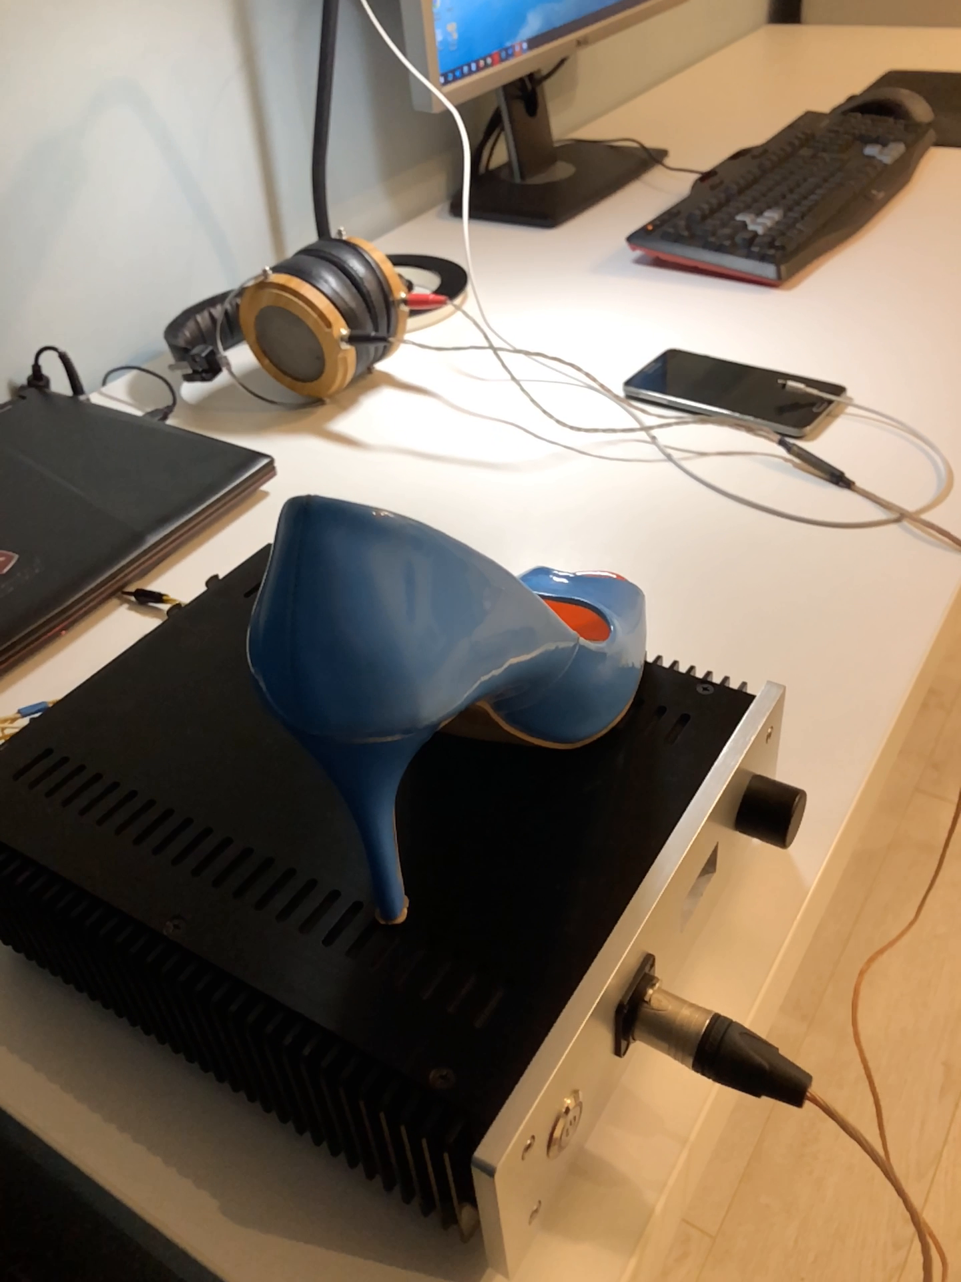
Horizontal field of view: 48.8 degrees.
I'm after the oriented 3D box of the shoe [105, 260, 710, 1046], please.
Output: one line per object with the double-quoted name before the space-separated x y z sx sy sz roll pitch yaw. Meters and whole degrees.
"shoe" 0.001 -0.012 0.359 0.080 0.149 0.221 14 43 23
